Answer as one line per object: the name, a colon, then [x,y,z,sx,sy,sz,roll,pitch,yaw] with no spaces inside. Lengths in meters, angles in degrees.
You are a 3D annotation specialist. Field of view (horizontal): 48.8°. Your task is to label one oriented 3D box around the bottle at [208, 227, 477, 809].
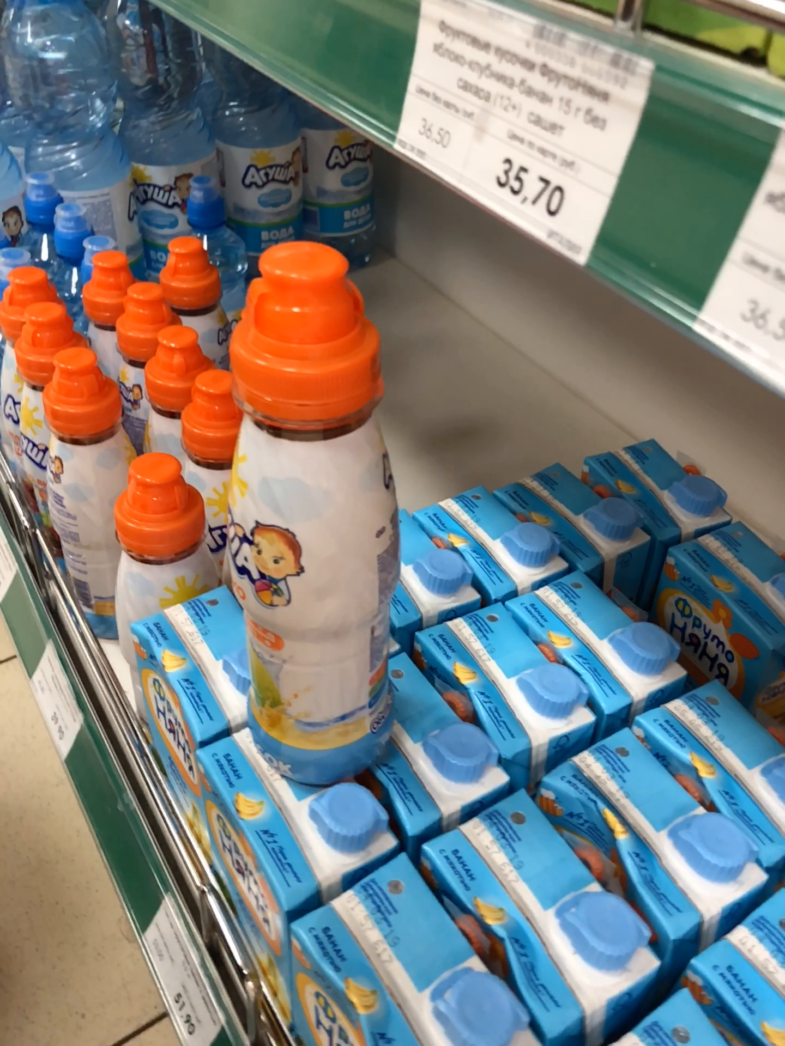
bottle: [-0.021,0.011,0.283,0.053,0.193,0.056,3,42,-3]
